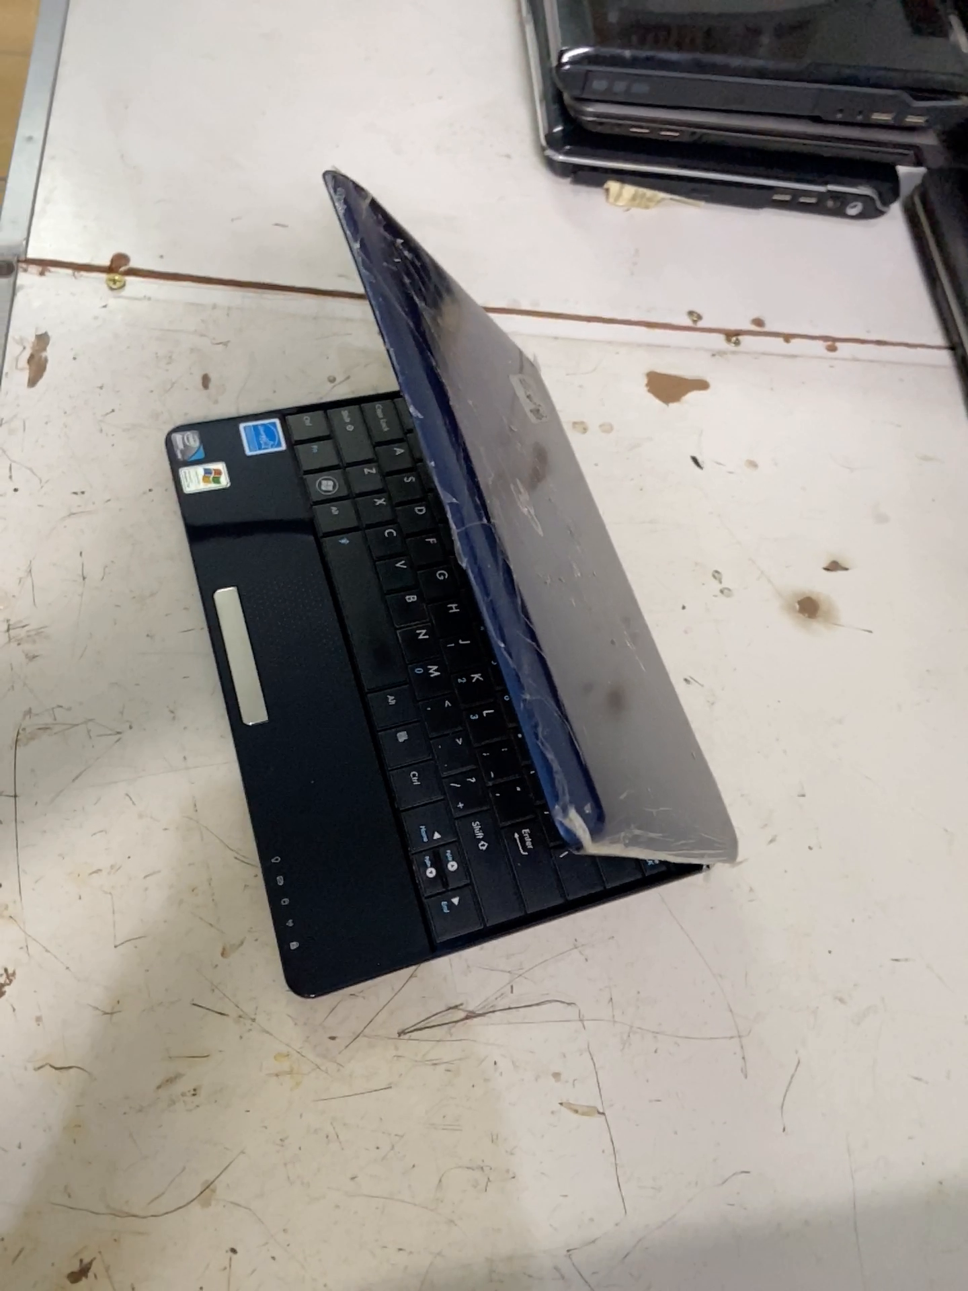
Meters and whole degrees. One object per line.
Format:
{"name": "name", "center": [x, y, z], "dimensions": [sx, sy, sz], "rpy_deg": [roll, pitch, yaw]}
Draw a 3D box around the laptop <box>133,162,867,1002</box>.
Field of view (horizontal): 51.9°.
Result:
{"name": "laptop", "center": [-0.018, -0.031, 0.379], "dimensions": [0.169, 0.121, 0.259], "rpy_deg": [-13, 67, -14]}
